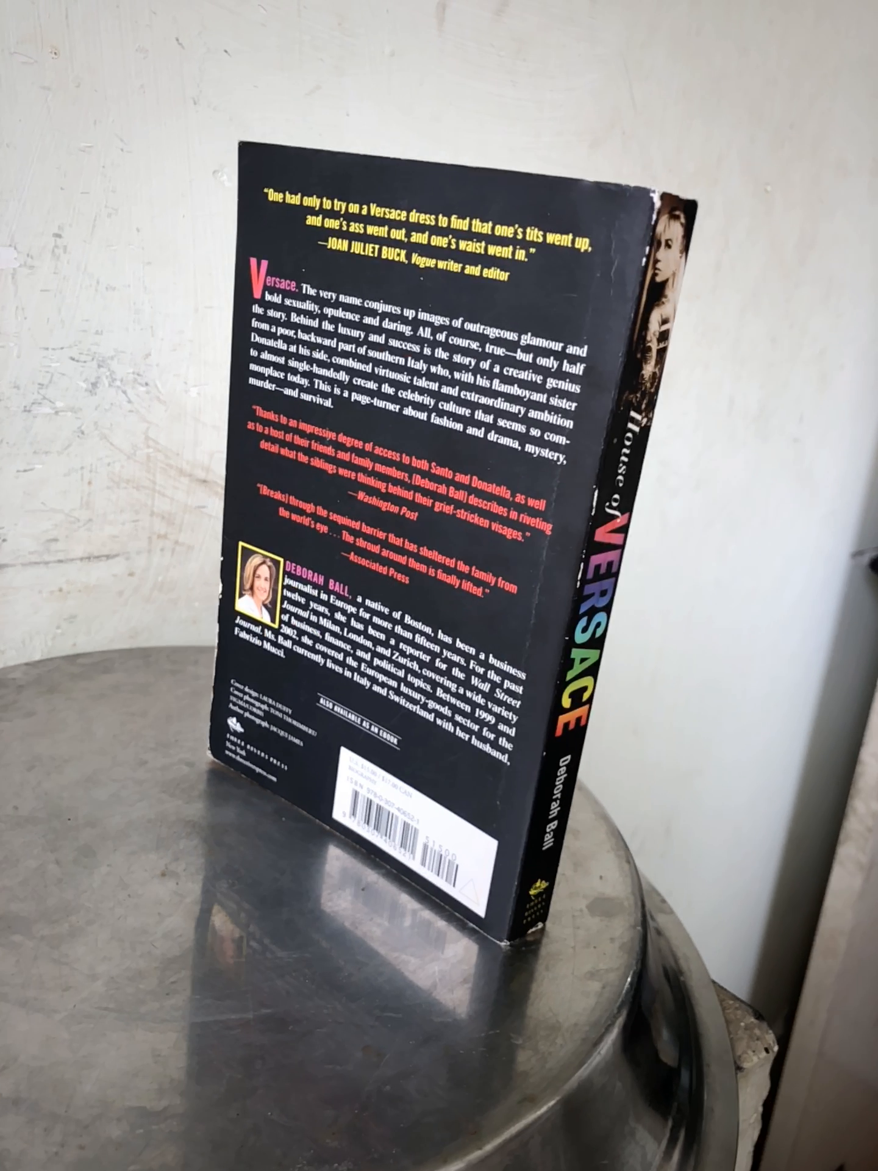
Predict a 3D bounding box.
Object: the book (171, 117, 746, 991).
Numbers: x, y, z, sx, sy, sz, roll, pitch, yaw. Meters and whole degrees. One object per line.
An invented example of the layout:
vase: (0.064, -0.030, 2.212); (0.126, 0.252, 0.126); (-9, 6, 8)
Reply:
book: (-0.016, -0.022, 0.310); (0.040, 0.219, 0.180); (-10, 23, -44)
